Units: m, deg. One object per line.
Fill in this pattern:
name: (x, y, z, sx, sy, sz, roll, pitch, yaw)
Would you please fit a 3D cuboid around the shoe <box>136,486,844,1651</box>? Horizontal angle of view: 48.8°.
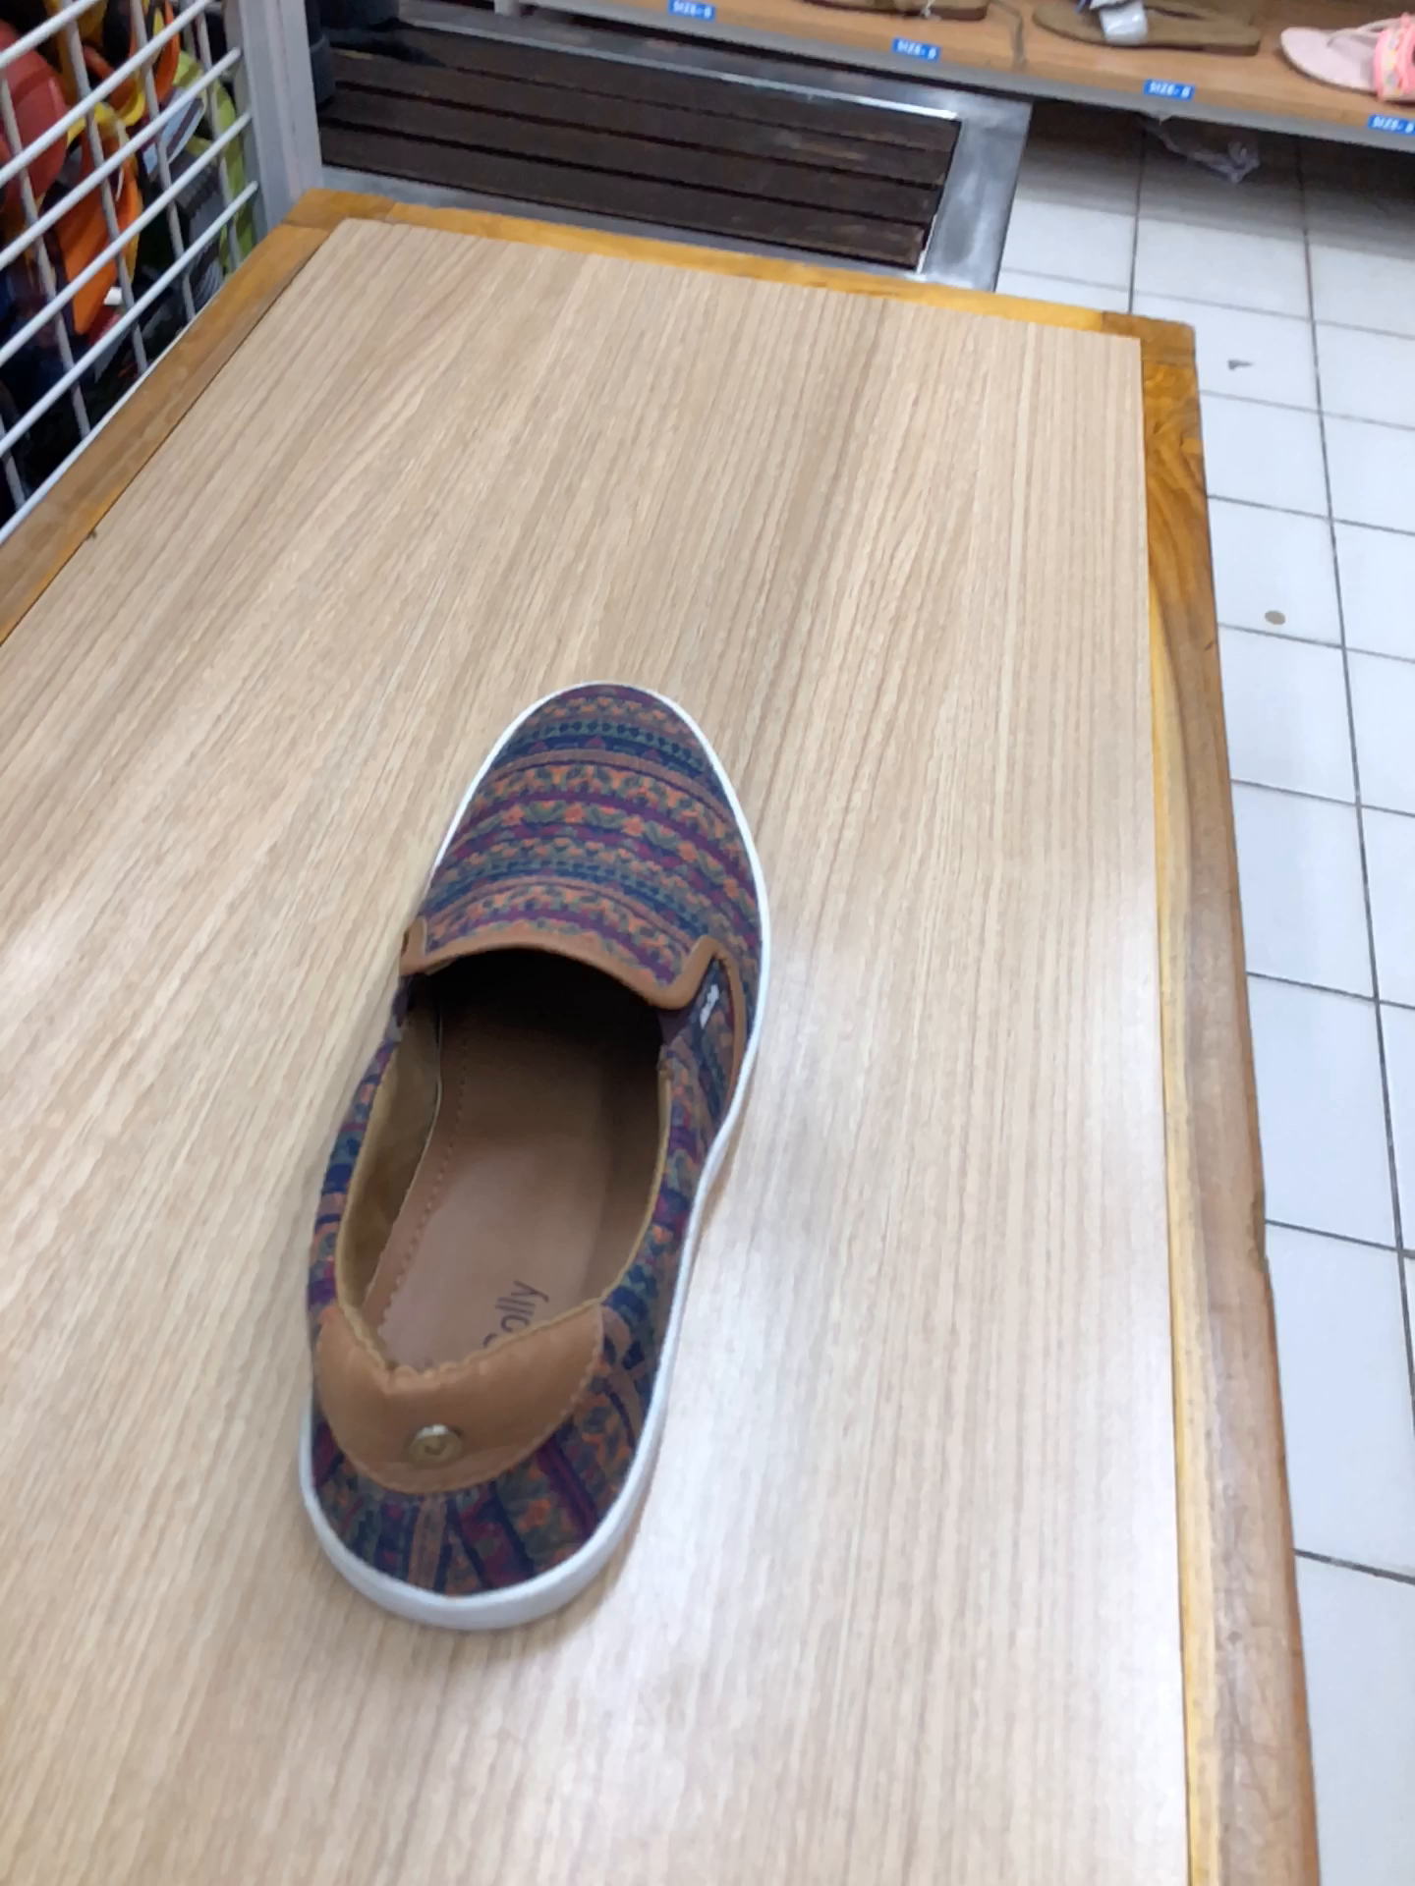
shoe: (-0.031, 0.009, 0.378, 0.100, 0.089, 0.272, 8, 48, 1)
